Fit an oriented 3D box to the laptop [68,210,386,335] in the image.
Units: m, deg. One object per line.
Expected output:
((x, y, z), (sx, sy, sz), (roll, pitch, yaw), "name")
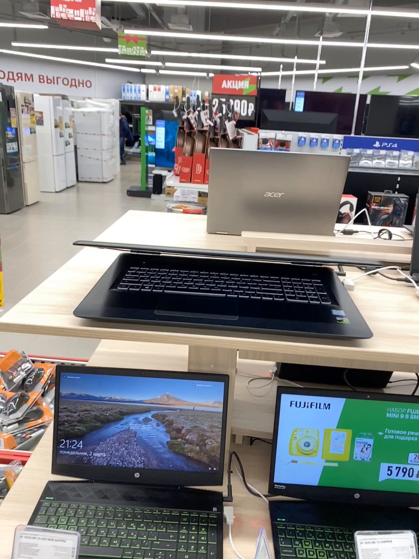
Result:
((0.024, -0.028, 0.681), (0.404, 0.083, 0.272), (4, 21, 2), "laptop")

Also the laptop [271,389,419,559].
((0.303, 0.379, 0.729), (0.353, 0.226, 0.300), (3, 19, 2), "laptop")

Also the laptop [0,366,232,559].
((-0.147, 0.345, 0.756), (0.344, 0.220, 0.316), (5, 19, -1), "laptop")
